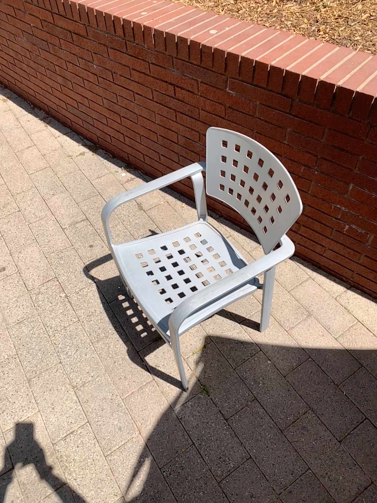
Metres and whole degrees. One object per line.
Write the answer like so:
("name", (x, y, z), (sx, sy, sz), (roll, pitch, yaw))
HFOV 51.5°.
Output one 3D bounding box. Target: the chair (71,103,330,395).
("chair", (0.018, 0.002, 1.367), (0.498, 0.698, 0.563), (-27, 54, -19))
